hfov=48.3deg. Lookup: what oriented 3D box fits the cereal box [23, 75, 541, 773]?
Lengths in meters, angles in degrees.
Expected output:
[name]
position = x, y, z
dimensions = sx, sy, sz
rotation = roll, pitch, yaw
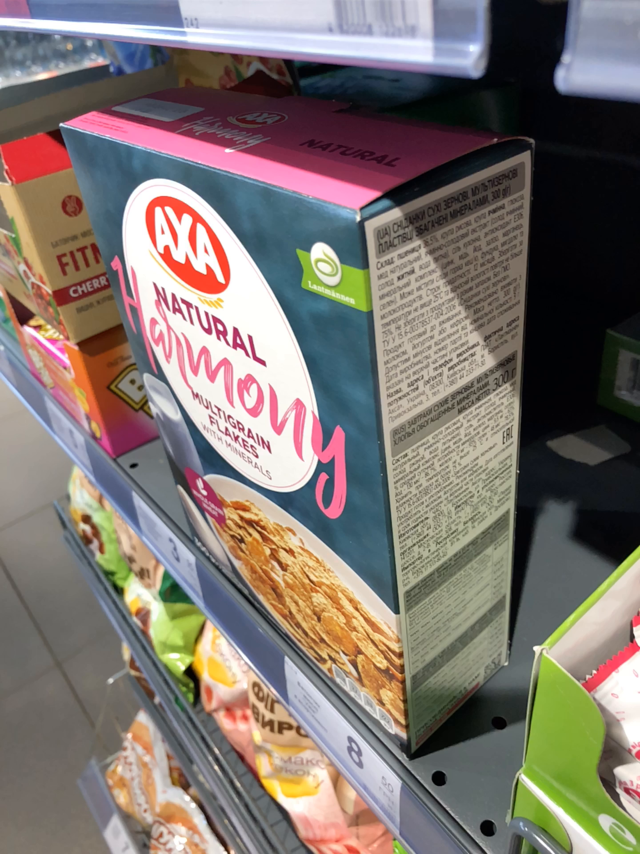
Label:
[cereal box]
position = -0.014, -0.008, 0.286
dimensions = 0.070, 0.218, 0.181
rotation = -30, 41, -26
